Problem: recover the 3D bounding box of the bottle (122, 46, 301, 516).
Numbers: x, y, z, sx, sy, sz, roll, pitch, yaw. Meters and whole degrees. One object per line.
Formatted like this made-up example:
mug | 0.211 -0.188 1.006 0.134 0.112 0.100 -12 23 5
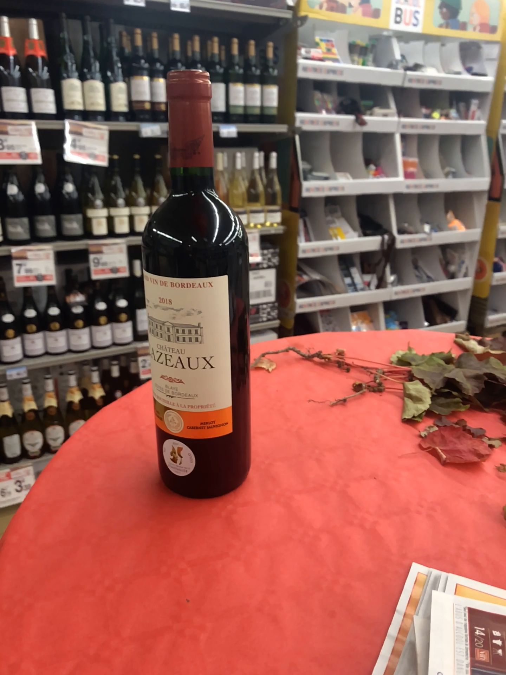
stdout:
bottle | -0.026 -0.033 0.398 0.080 0.299 0.080 1 20 0
